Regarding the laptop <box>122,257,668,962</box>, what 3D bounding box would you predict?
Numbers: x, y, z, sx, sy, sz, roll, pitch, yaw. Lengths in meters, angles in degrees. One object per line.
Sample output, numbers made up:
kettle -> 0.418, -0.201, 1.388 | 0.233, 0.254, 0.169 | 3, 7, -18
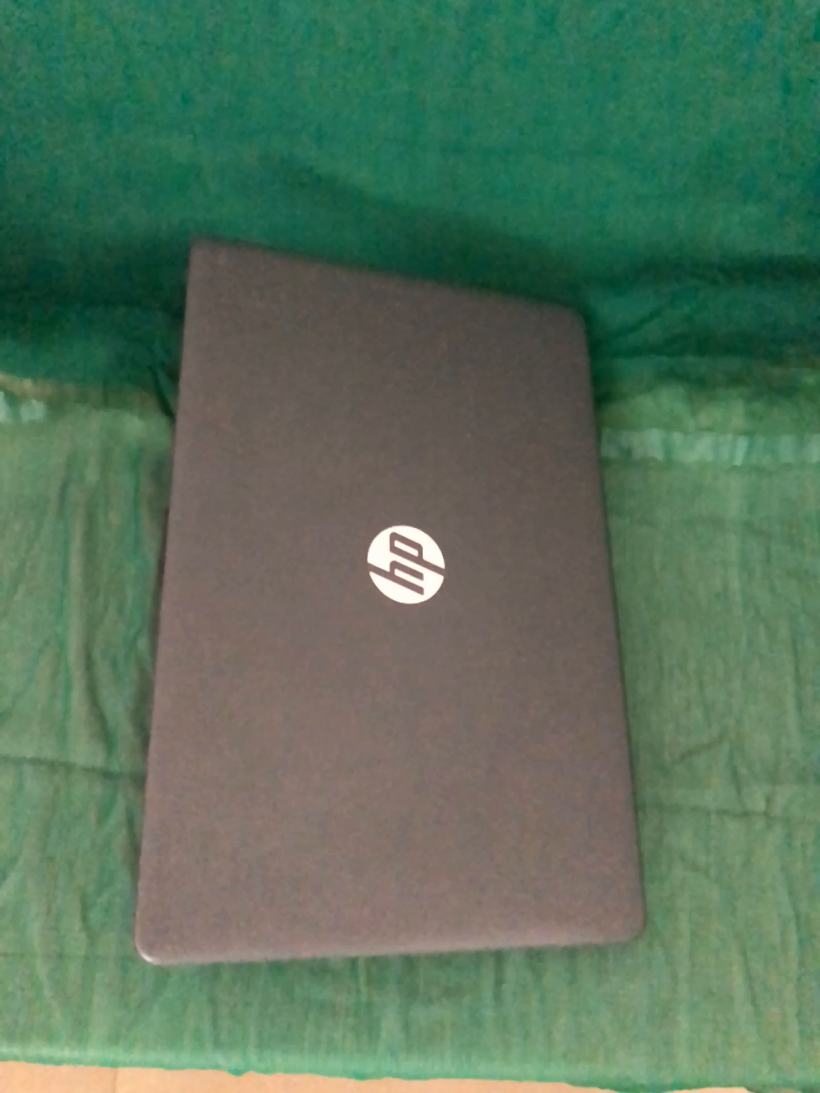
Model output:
laptop -> -0.008, 0.020, 0.481 | 0.231, 0.067, 0.360 | 1, 68, -3
